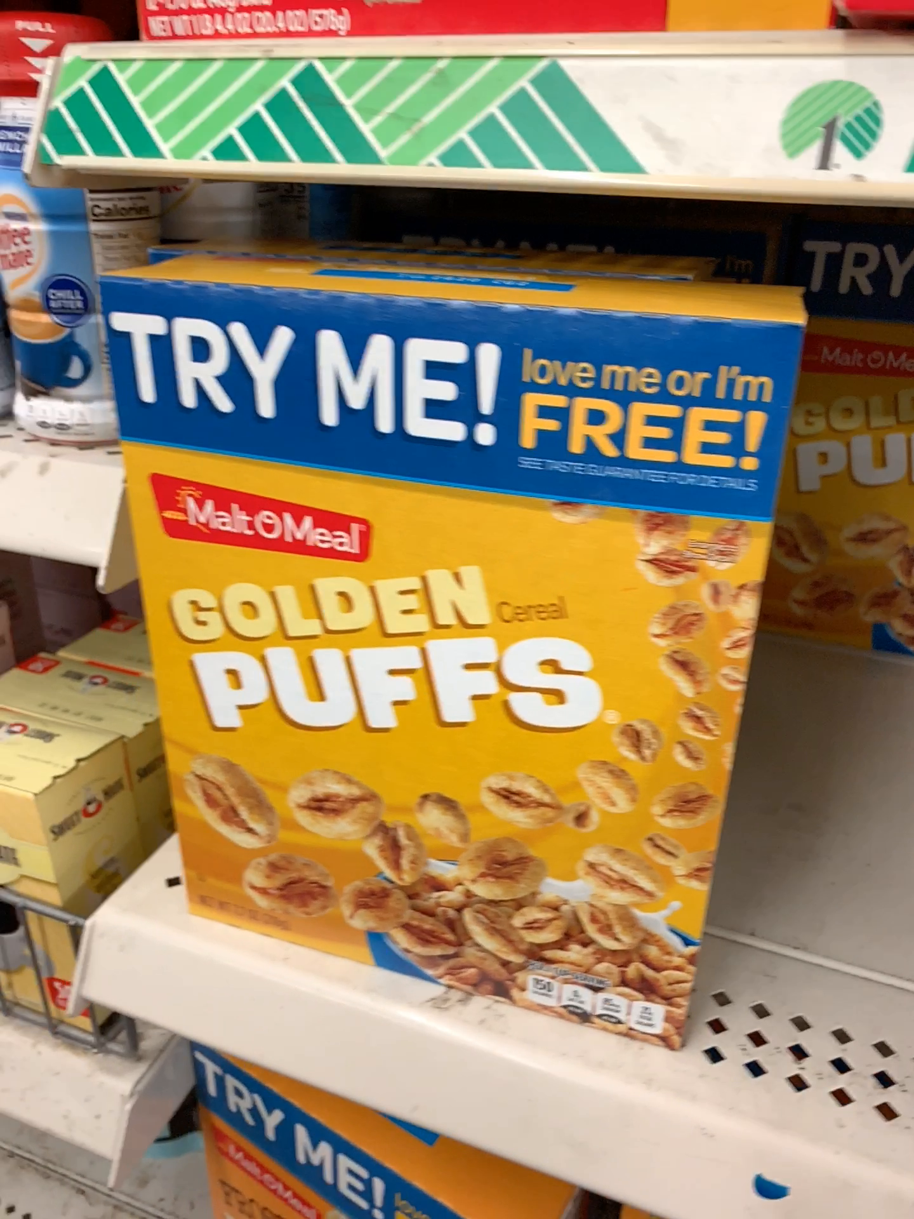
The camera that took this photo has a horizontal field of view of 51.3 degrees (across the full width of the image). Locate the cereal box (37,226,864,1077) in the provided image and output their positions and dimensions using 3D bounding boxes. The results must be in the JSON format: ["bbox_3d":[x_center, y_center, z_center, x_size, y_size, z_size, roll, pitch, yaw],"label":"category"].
[{"bbox_3d":[-0.005,0.011,0.280,0.190,0.219,0.060,9,28,16],"label":"cereal box"}]
